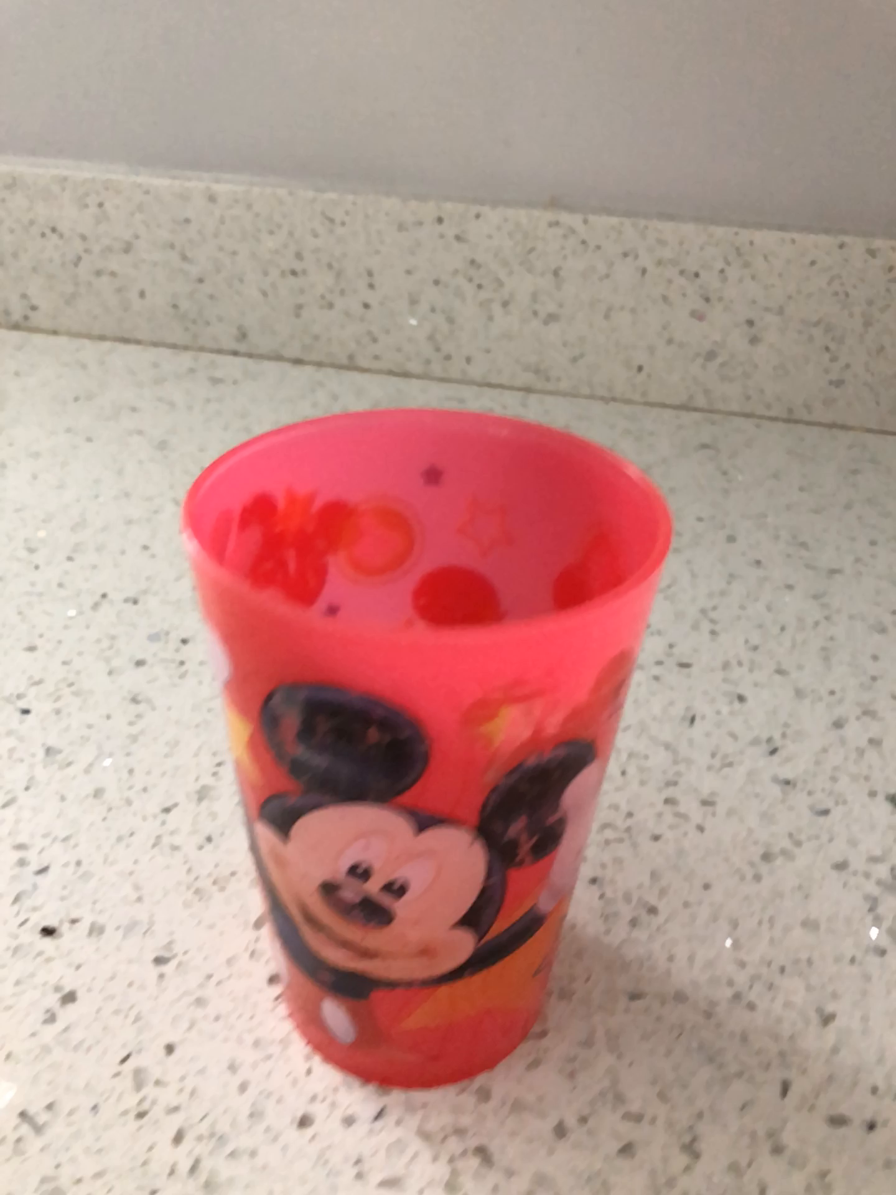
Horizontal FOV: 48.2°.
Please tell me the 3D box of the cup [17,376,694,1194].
[{"bbox_3d":[-0.007,0.026,0.164,0.073,0.096,0.071,1,32,-1],"label":"cup"}]
